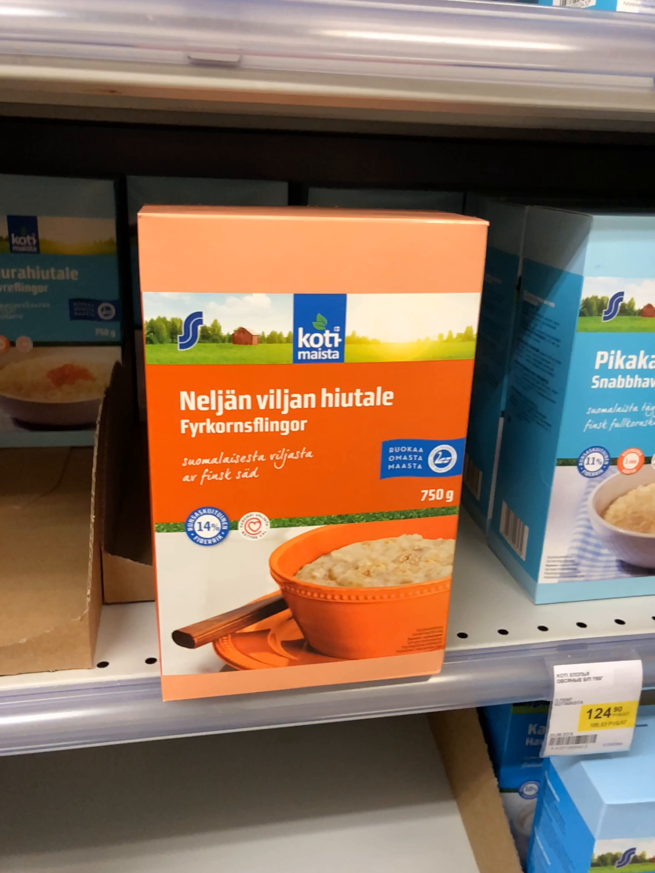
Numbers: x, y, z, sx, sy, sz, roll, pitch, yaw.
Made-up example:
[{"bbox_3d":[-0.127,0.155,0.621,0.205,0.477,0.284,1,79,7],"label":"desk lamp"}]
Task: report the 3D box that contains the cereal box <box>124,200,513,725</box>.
[{"bbox_3d":[-0.009,0.008,0.349,0.150,0.229,0.080,-2,19,-10],"label":"cereal box"}]
